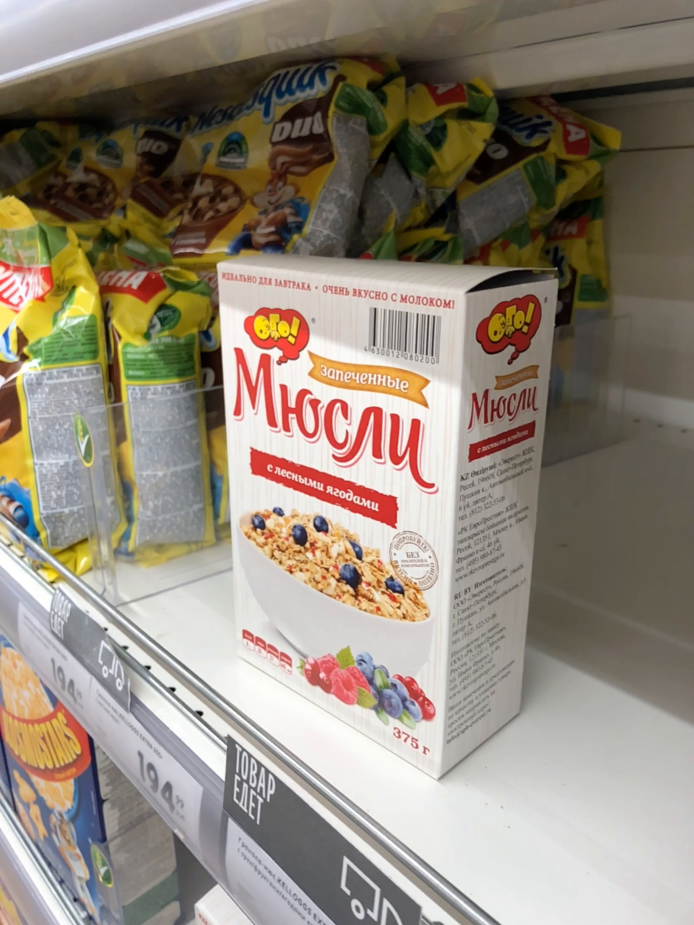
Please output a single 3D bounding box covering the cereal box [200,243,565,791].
[{"bbox_3d":[0.009,0.011,0.337,0.140,0.199,0.060,17,25,42],"label":"cereal box"}]
